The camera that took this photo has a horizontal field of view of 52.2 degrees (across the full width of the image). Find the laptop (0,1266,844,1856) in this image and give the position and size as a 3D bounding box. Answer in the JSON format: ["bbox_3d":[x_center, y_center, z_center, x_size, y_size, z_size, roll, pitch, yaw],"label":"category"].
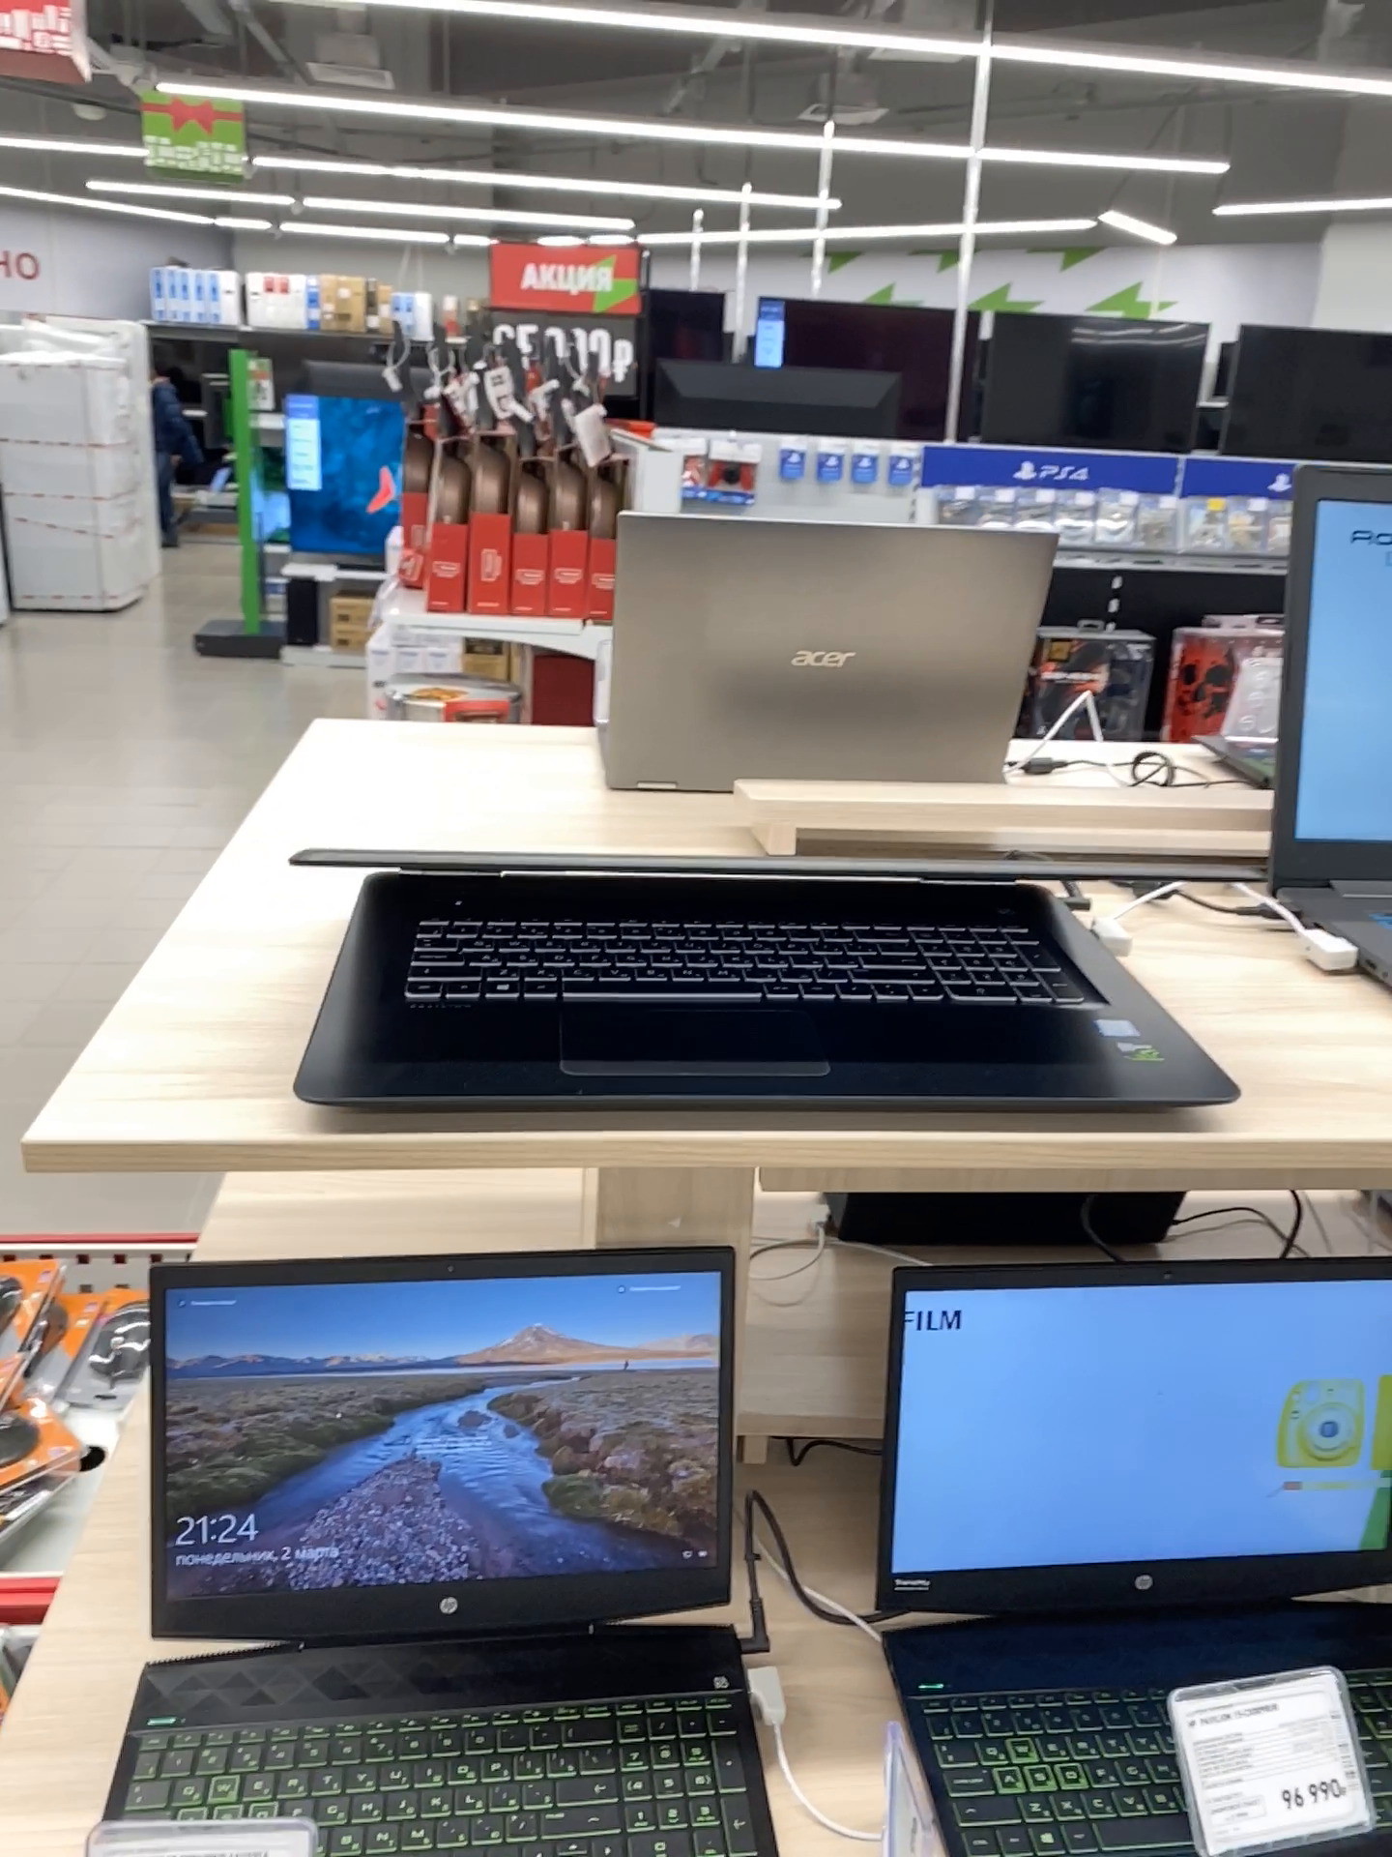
[{"bbox_3d":[-0.136,0.363,0.760,0.343,0.220,0.316,1,19,-9],"label":"laptop"}]

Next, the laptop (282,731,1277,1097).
[{"bbox_3d":[0.025,-0.019,0.707,0.404,0.083,0.272,1,21,-7],"label":"laptop"}]

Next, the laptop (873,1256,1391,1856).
[{"bbox_3d":[0.314,0.372,0.800,0.353,0.226,0.300,0,19,-7],"label":"laptop"}]
